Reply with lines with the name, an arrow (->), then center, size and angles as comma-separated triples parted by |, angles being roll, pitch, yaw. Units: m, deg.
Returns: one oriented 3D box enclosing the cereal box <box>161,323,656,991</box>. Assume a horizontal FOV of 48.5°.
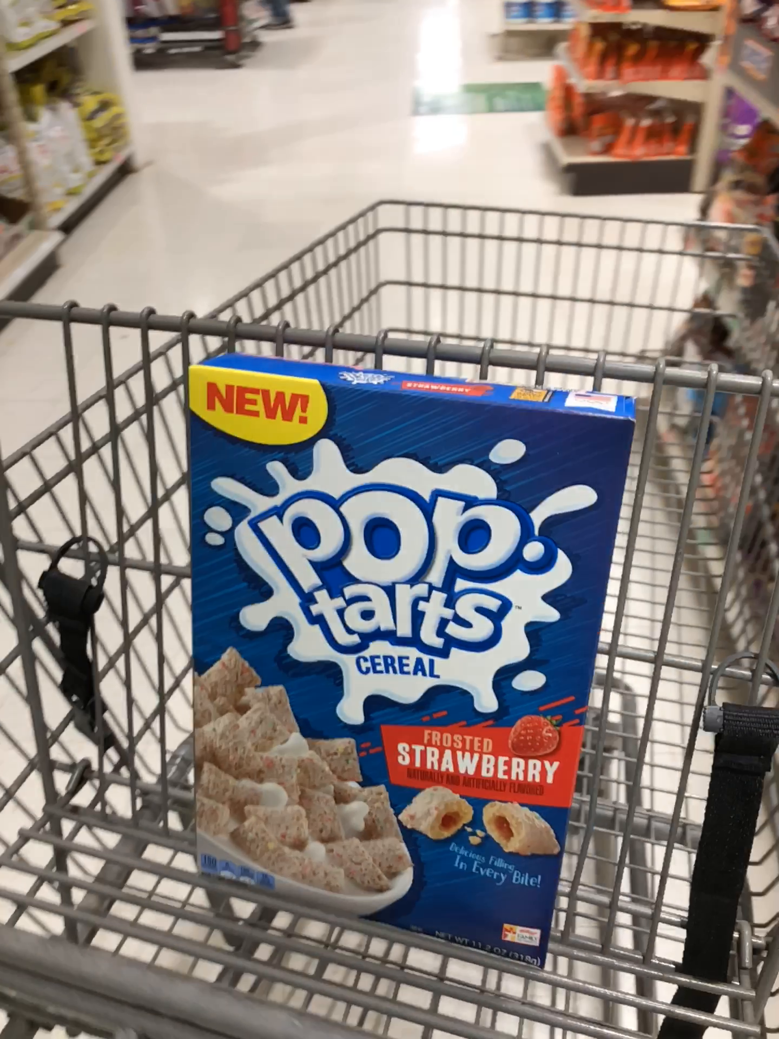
cereal box -> -0.001, 0.062, 0.403 | 0.200, 0.280, 0.050 | 9, 19, 16
